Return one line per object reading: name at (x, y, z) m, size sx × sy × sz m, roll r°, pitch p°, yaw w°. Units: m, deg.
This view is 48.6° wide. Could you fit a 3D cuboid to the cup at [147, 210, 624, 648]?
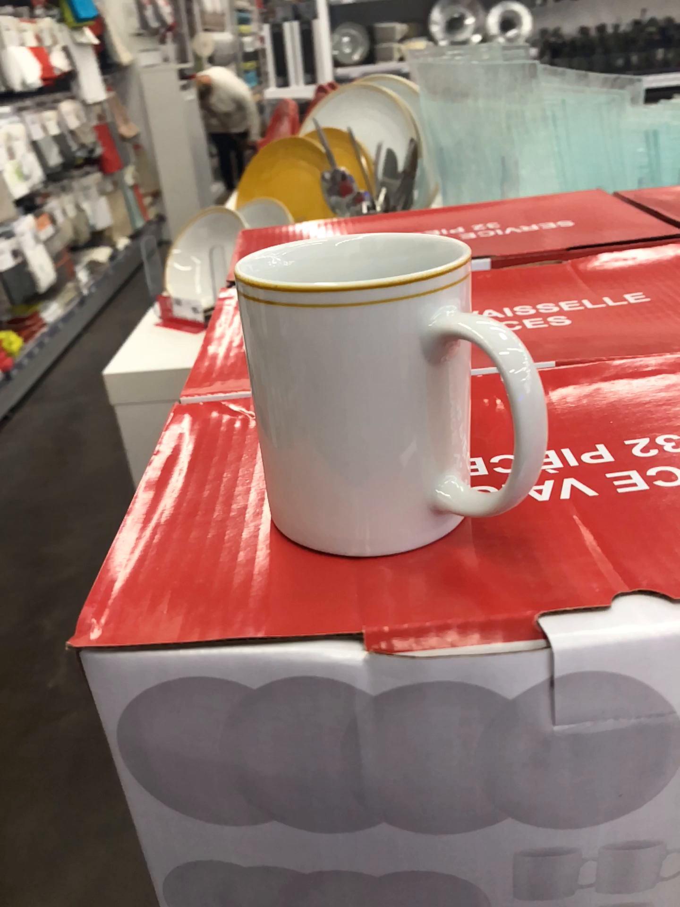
cup at (0.014, -0.021, 0.258) m, size 0.096 × 0.091 × 0.115 m, roll -26°, pitch 35°, yaw -35°
